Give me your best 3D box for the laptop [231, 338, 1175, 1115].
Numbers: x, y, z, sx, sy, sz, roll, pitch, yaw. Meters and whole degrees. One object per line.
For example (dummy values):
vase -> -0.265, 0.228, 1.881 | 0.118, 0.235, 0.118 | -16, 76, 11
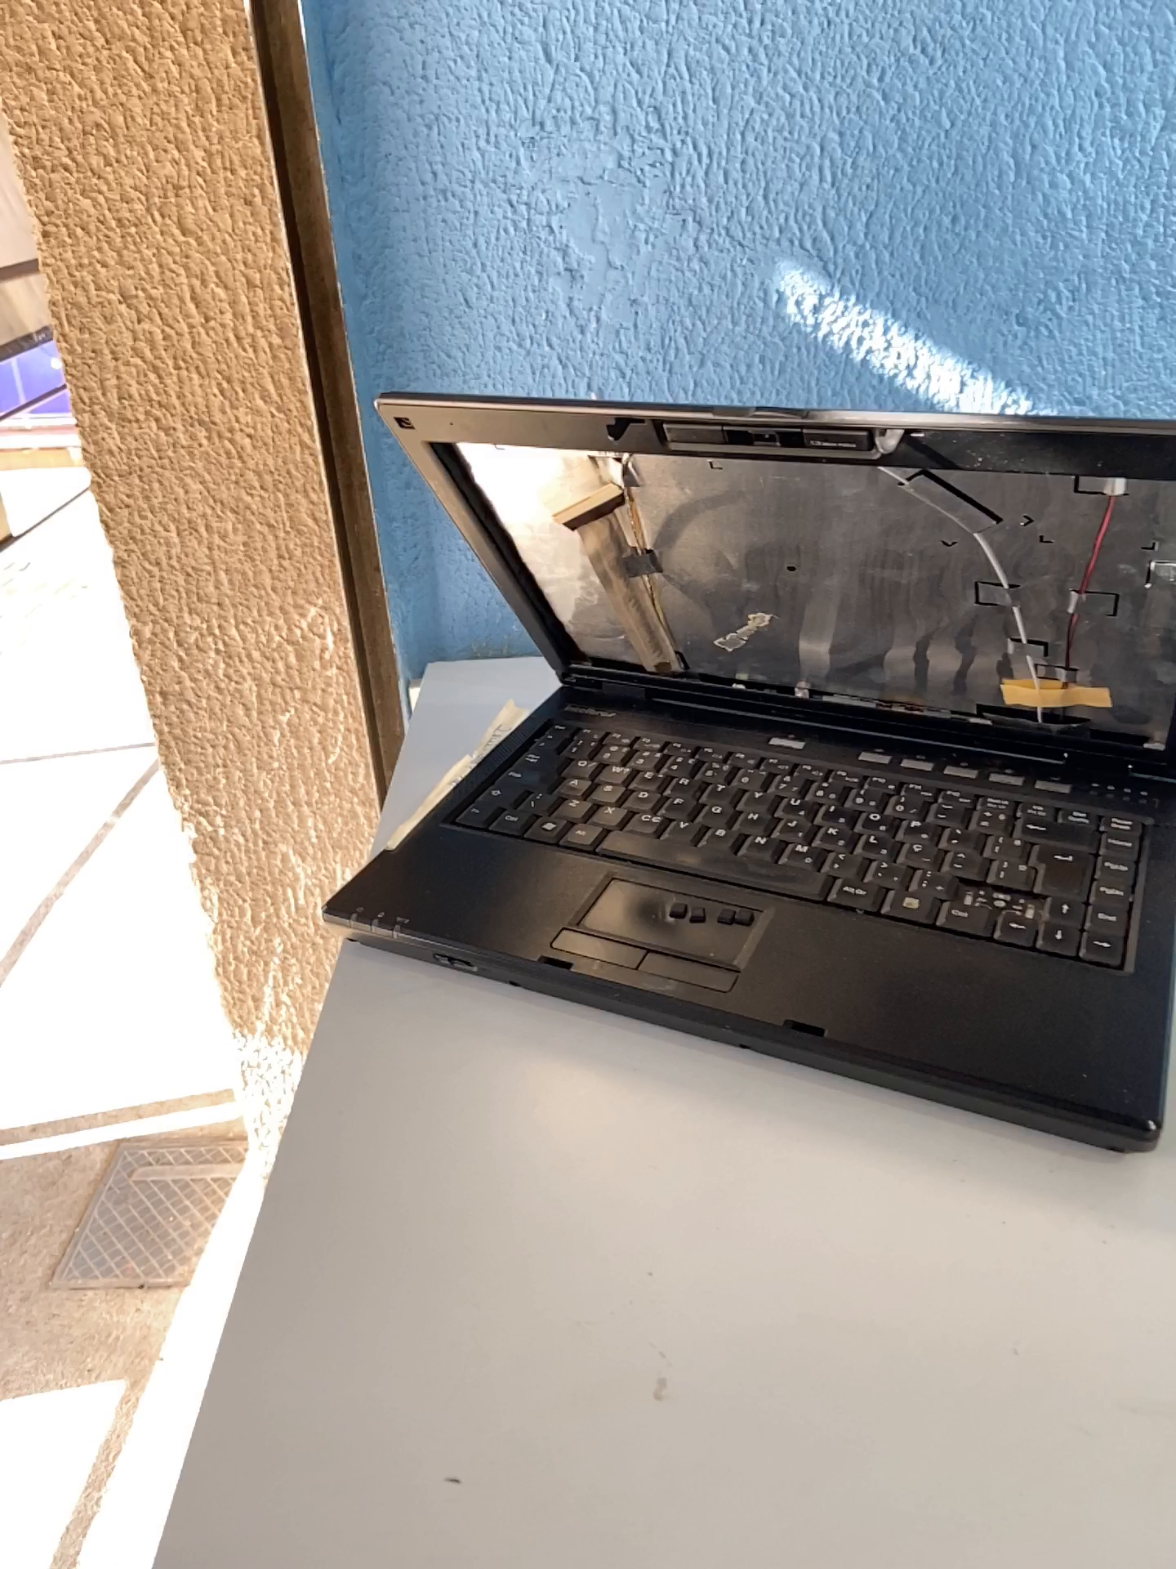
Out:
laptop -> 0.076, -0.058, 0.498 | 0.322, 0.191, 0.232 | 11, 32, 23
